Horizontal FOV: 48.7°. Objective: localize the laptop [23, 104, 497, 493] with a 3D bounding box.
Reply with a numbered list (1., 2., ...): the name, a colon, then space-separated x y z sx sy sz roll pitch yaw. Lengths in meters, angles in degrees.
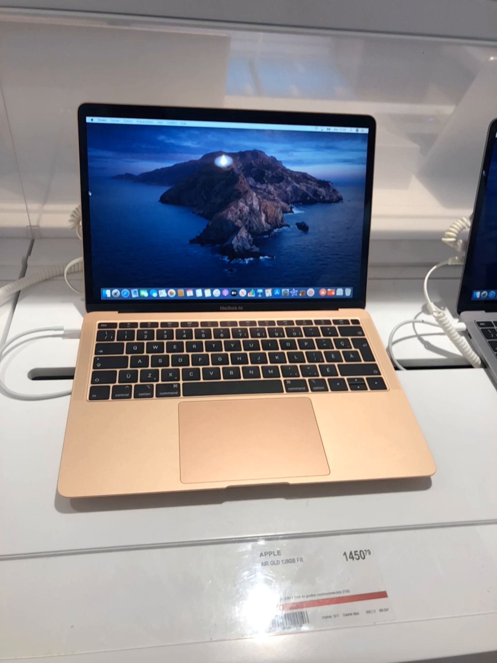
1. laptop: -0.004 -0.048 0.485 0.291 0.170 0.305 -1 43 -9
